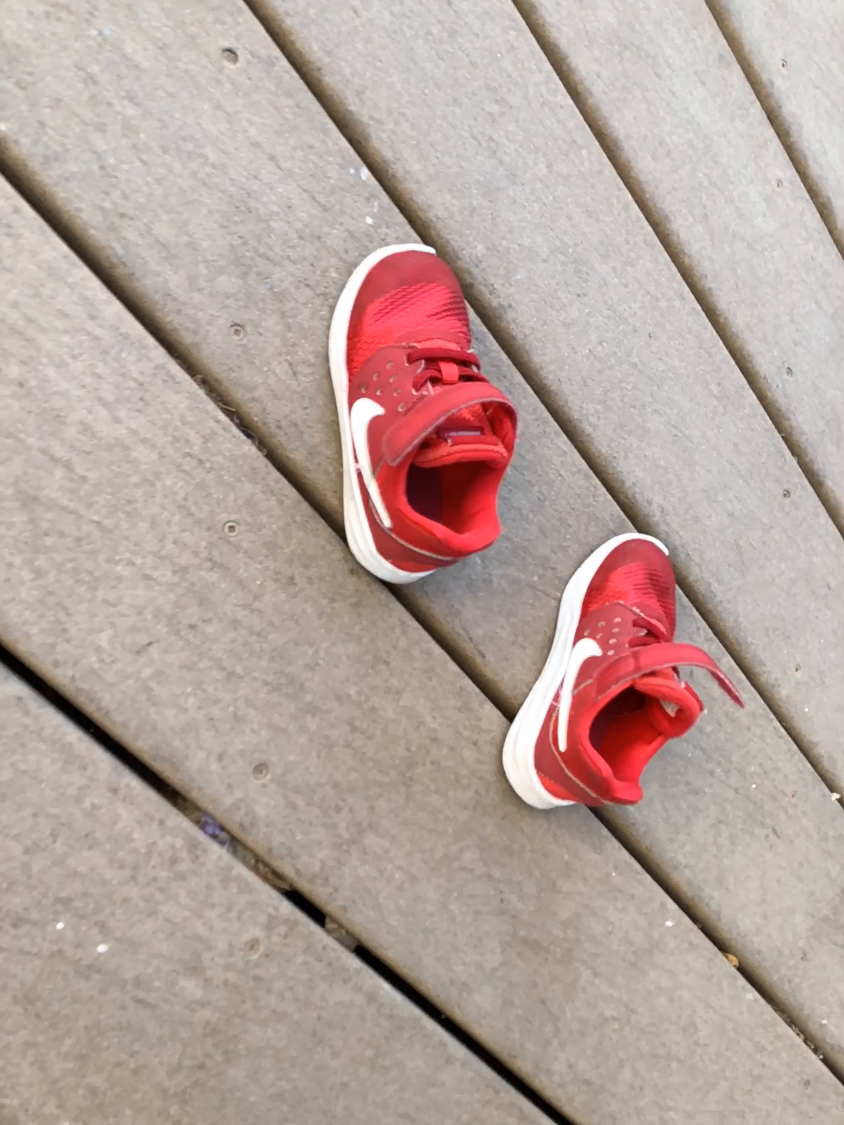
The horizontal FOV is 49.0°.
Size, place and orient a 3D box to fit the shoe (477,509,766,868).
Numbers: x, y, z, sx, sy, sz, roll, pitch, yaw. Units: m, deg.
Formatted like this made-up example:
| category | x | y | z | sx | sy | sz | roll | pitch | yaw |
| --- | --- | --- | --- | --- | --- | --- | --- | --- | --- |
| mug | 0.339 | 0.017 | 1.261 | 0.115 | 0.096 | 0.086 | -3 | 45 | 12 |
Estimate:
| category | x | y | z | sx | sy | sz | roll | pitch | yaw |
| --- | --- | --- | --- | --- | --- | --- | --- | --- | --- |
| shoe | 0.108 | 0.062 | 0.491 | 0.070 | 0.069 | 0.164 | 36 | 70 | -27 |

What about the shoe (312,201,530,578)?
| category | x | y | z | sx | sy | sz | roll | pitch | yaw |
| --- | --- | --- | --- | --- | --- | --- | --- | --- | --- |
| shoe | -0.001 | -0.070 | 0.426 | 0.073 | 0.069 | 0.153 | 2 | 88 | -33 |
